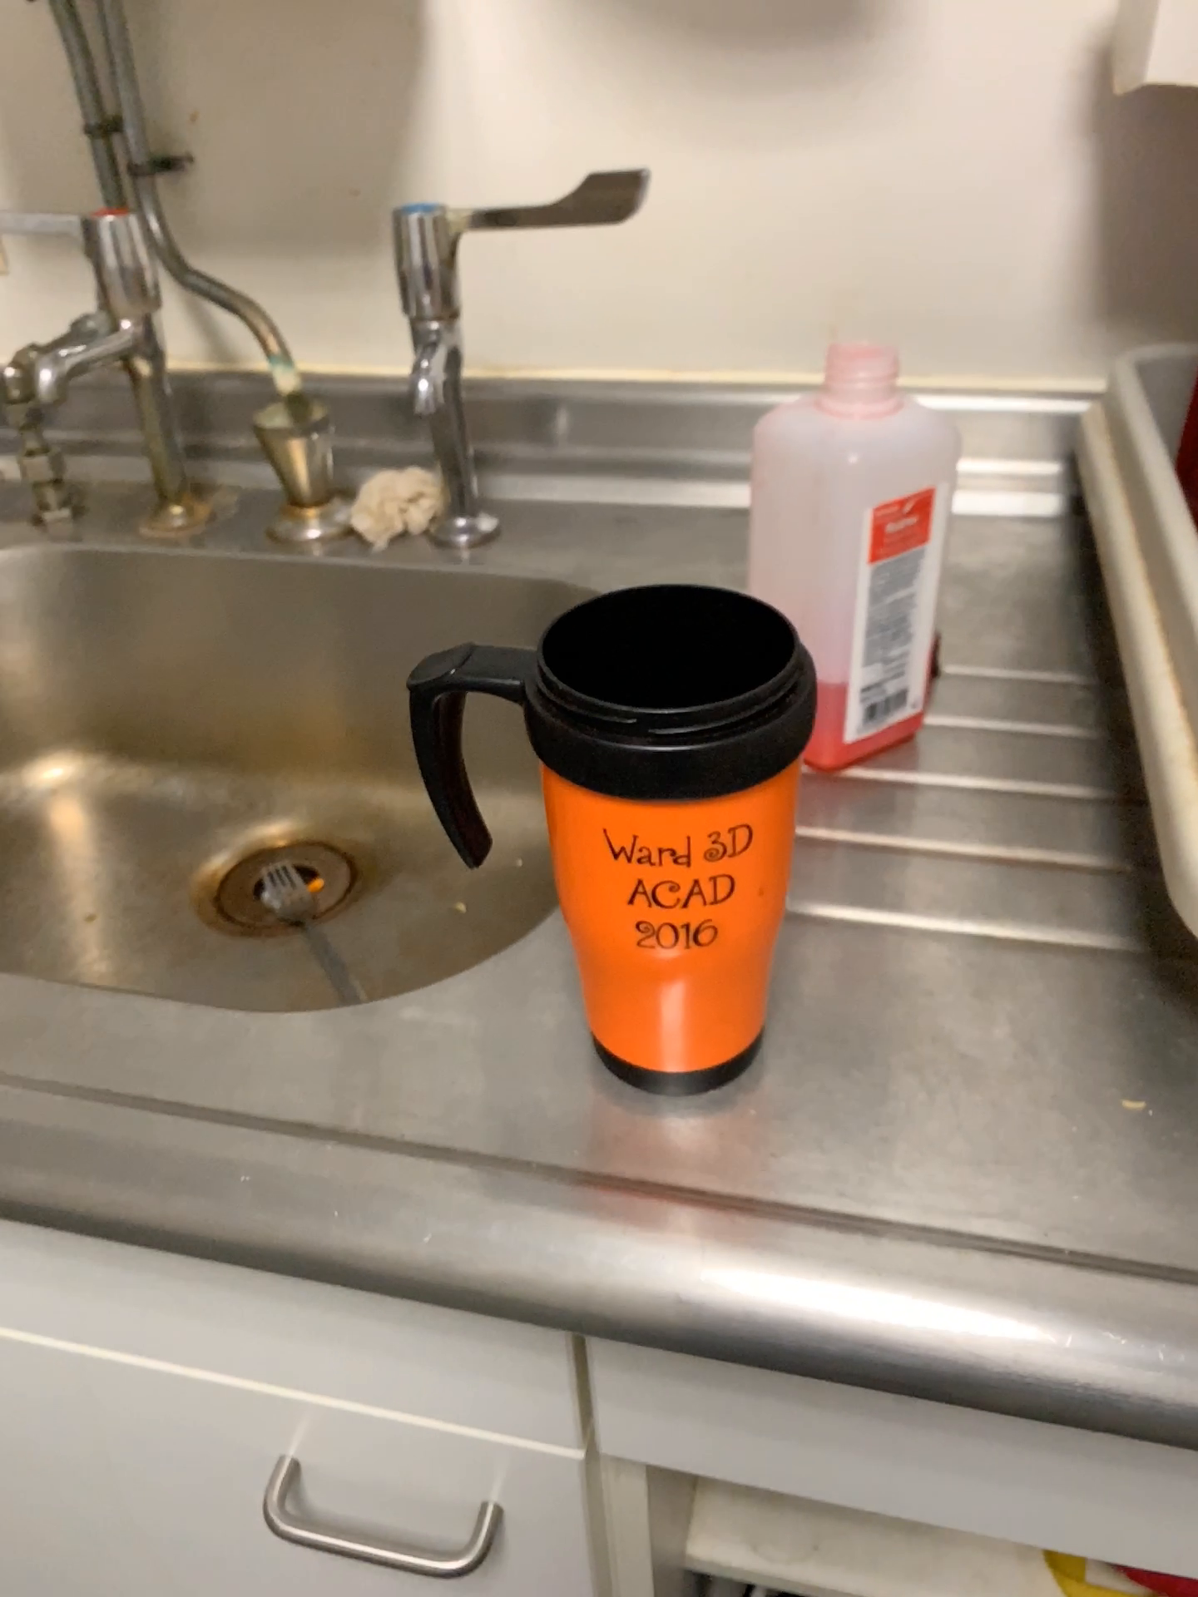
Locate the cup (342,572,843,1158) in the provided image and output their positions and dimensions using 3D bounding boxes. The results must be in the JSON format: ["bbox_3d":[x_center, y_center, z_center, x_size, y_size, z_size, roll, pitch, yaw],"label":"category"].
[{"bbox_3d":[0.007,0.022,0.416,0.134,0.164,0.090,4,36,11],"label":"cup"}]
